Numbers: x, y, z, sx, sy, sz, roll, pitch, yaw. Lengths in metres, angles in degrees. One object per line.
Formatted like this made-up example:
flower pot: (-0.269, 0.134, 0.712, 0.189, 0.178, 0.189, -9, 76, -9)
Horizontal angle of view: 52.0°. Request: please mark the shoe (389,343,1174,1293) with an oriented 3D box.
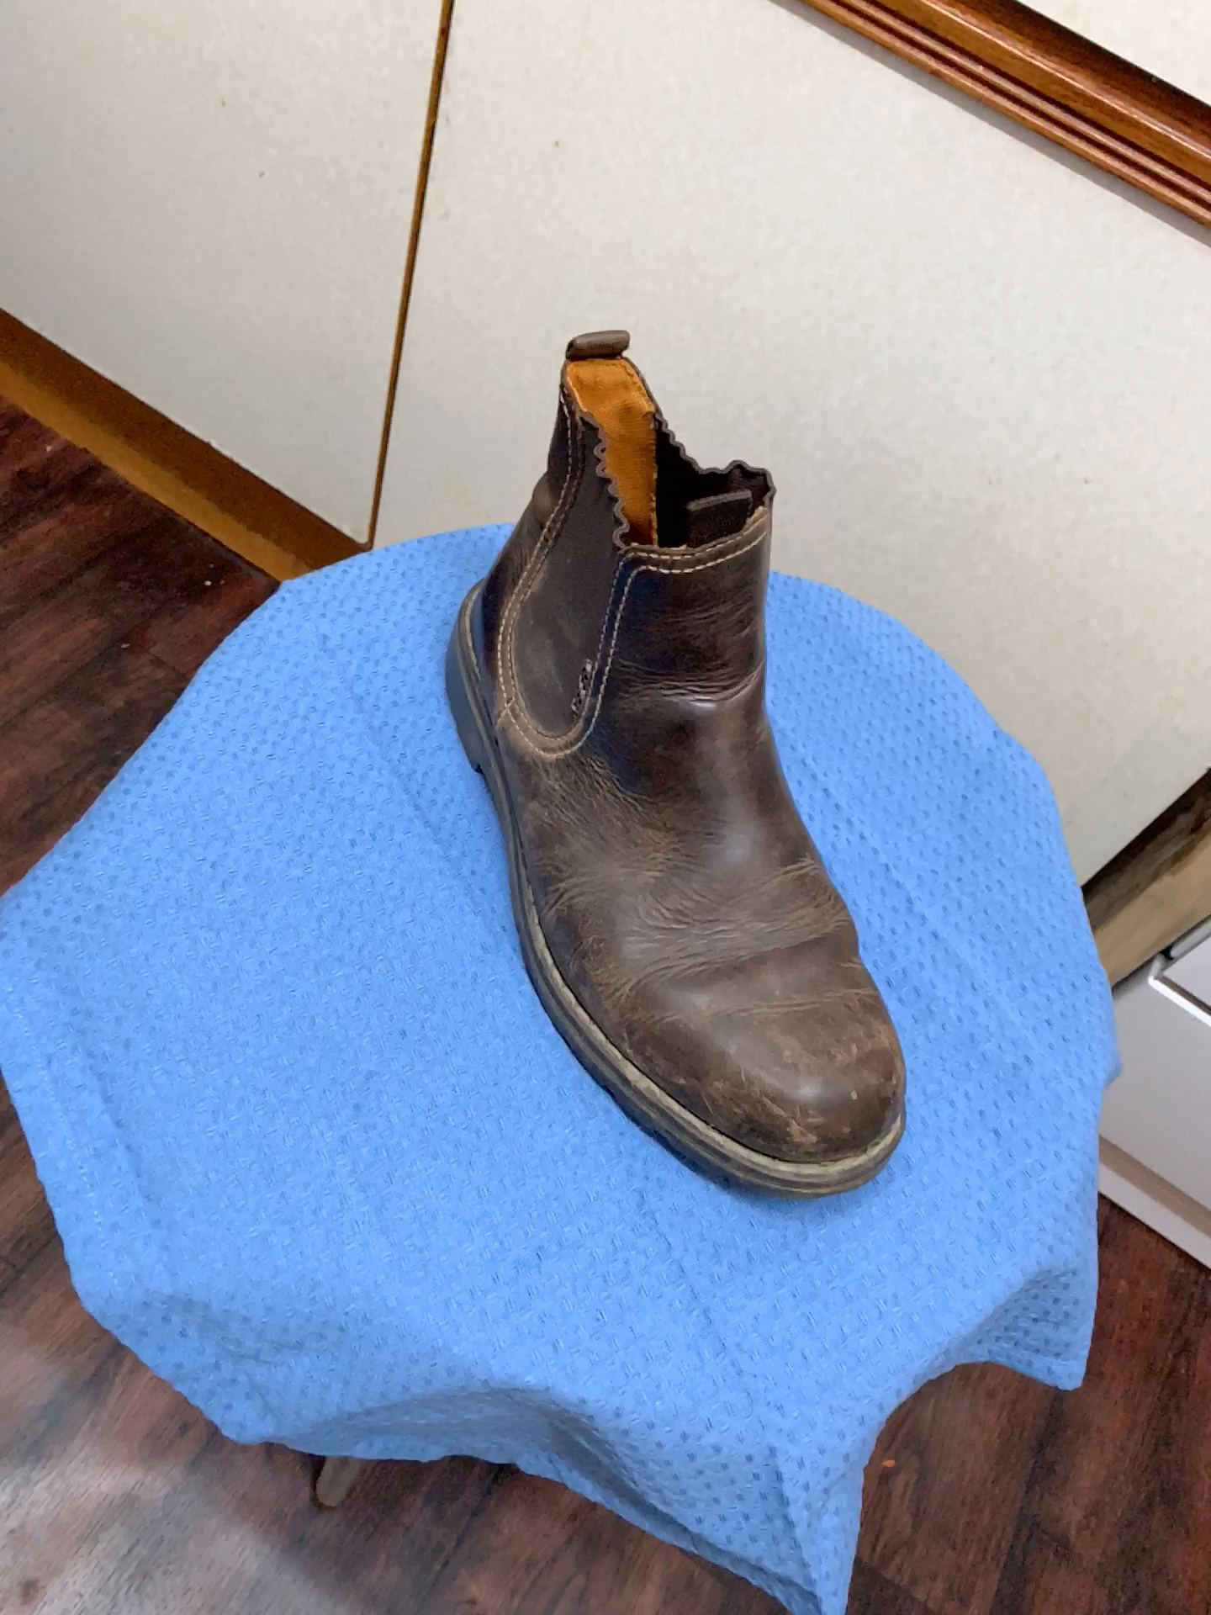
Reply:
shoe: (0.031, -0.005, 0.437, 0.105, 0.156, 0.279, -14, 61, -26)
